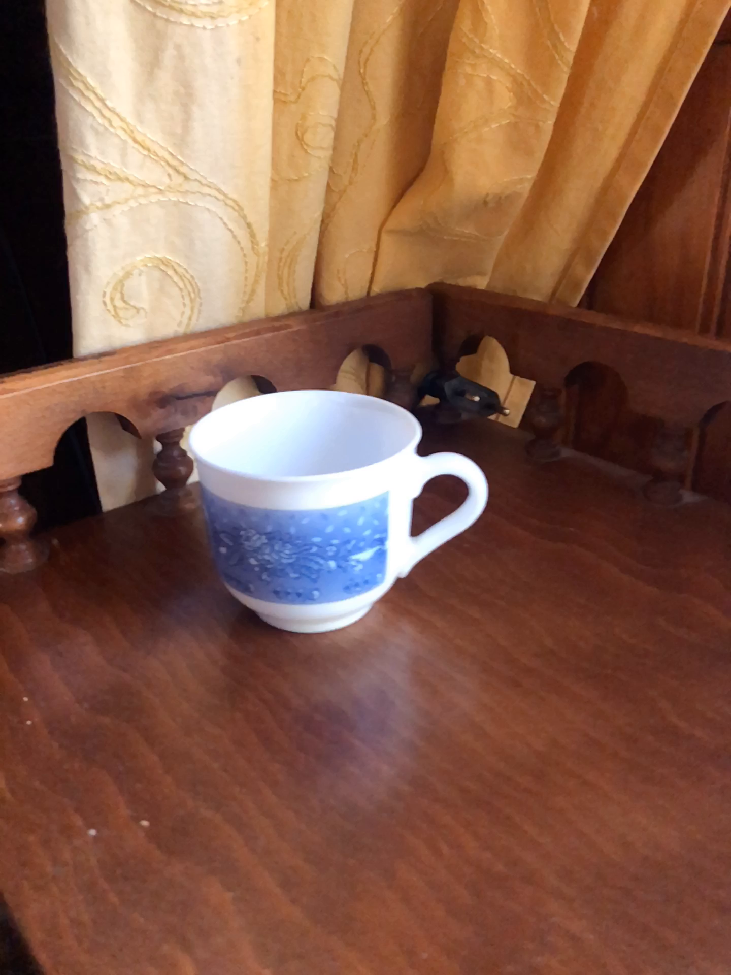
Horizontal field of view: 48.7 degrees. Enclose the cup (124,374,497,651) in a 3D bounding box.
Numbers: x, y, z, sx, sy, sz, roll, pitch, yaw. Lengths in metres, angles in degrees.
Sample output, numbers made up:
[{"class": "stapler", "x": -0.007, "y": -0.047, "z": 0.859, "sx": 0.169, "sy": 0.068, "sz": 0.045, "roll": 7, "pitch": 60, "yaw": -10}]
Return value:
[{"class": "cup", "x": -0.013, "y": 0.004, "z": 0.266, "sx": 0.100, "sy": 0.060, "sz": 0.080, "roll": 0, "pitch": 26, "yaw": 2}]
